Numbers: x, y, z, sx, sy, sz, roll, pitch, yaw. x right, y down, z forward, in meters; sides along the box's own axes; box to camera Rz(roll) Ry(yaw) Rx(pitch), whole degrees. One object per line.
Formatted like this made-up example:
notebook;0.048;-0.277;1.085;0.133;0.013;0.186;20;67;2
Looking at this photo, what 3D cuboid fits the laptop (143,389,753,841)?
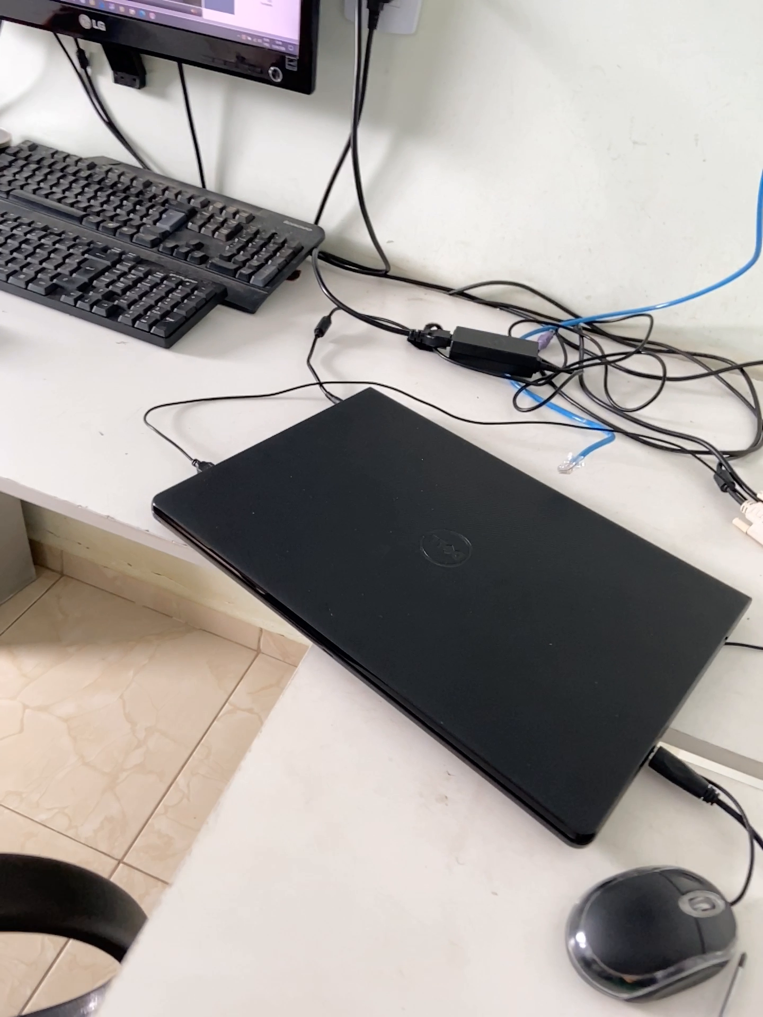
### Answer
laptop;0.052;0.032;0.582;0.376;0.003;0.261;33;44;25
